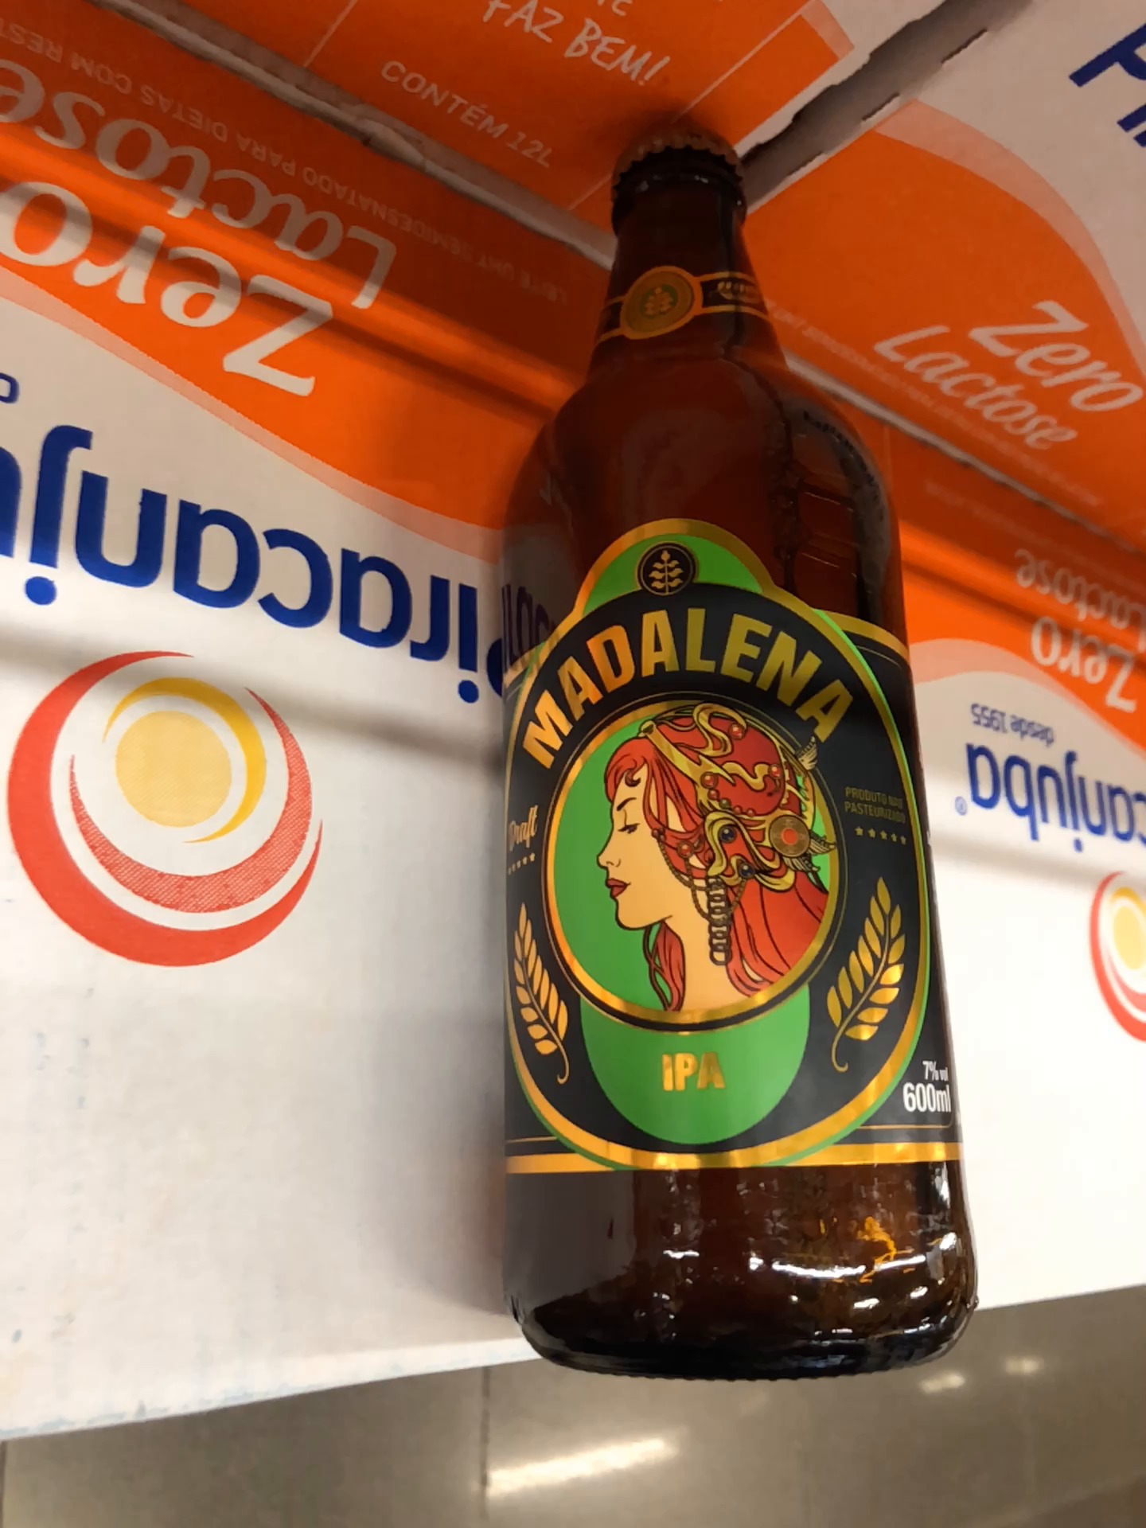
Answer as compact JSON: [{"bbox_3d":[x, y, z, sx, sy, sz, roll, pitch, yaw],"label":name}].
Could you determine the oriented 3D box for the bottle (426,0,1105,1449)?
[{"bbox_3d":[0.031,-0.034,0.253,0.101,0.060,0.280,12,69,-37],"label":"bottle"}]
